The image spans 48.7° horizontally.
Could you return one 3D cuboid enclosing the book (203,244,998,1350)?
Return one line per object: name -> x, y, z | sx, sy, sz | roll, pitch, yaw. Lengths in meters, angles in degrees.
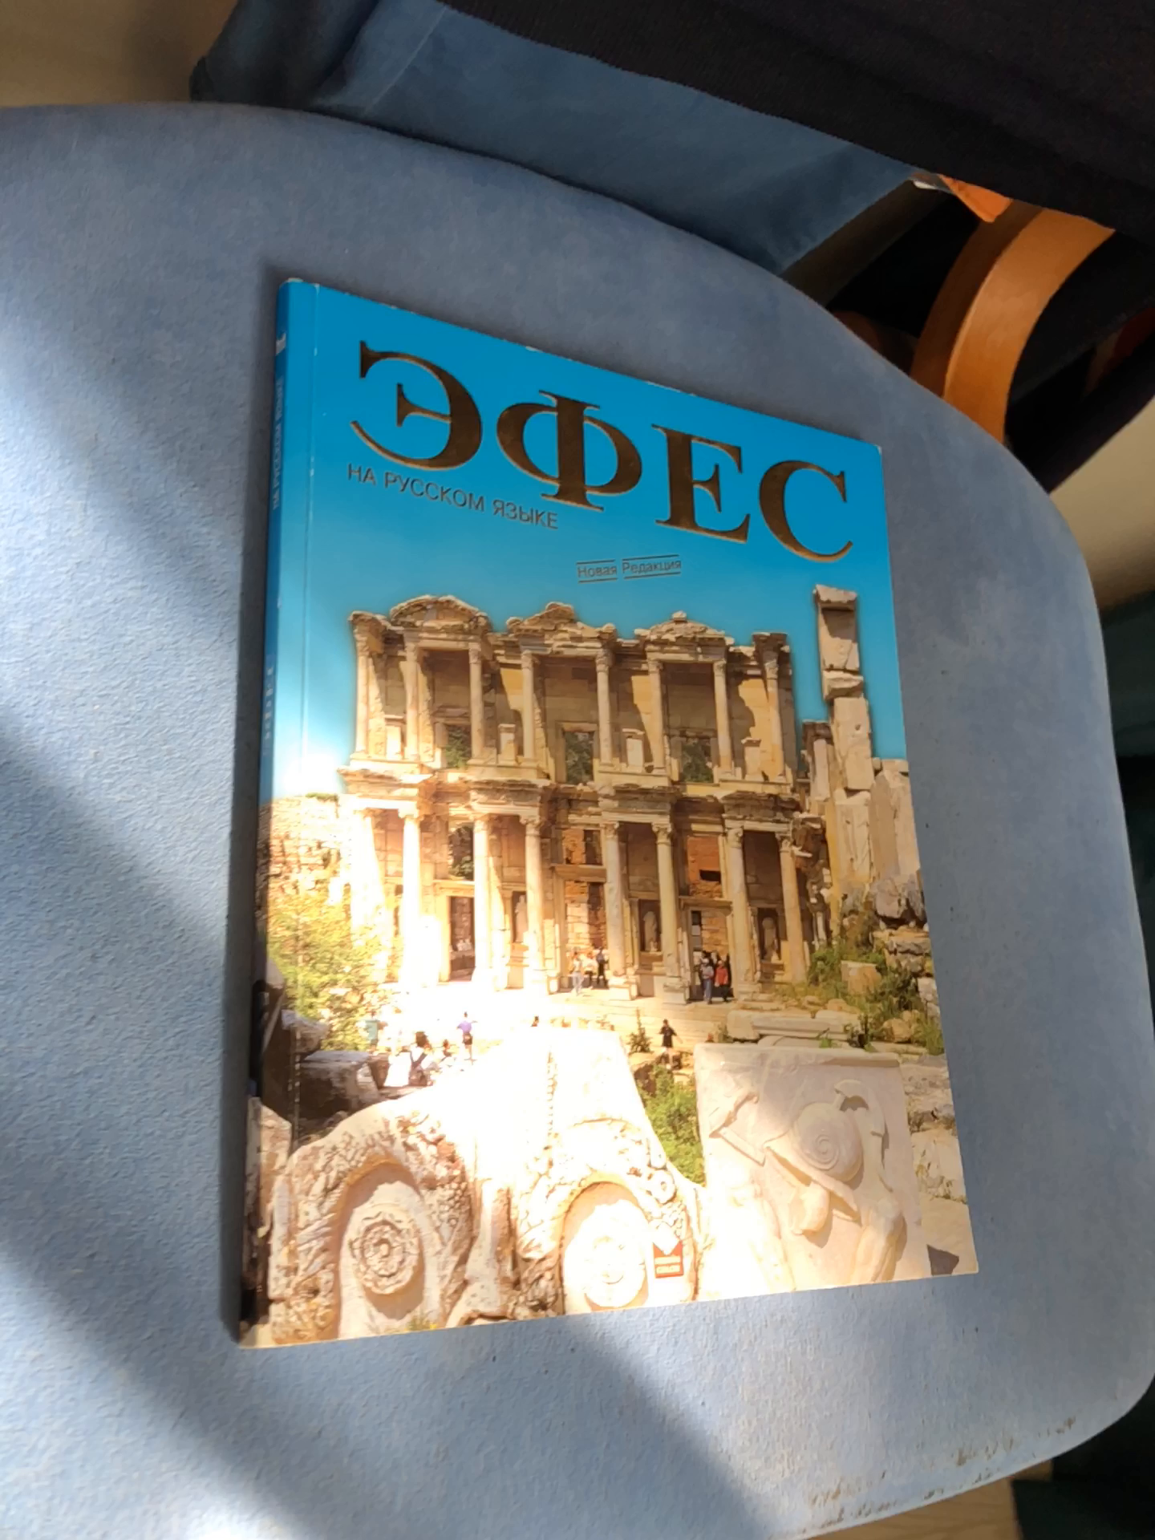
book -> 0.015, 0.005, 0.323 | 0.197, 0.020, 0.240 | 7, 72, -28
